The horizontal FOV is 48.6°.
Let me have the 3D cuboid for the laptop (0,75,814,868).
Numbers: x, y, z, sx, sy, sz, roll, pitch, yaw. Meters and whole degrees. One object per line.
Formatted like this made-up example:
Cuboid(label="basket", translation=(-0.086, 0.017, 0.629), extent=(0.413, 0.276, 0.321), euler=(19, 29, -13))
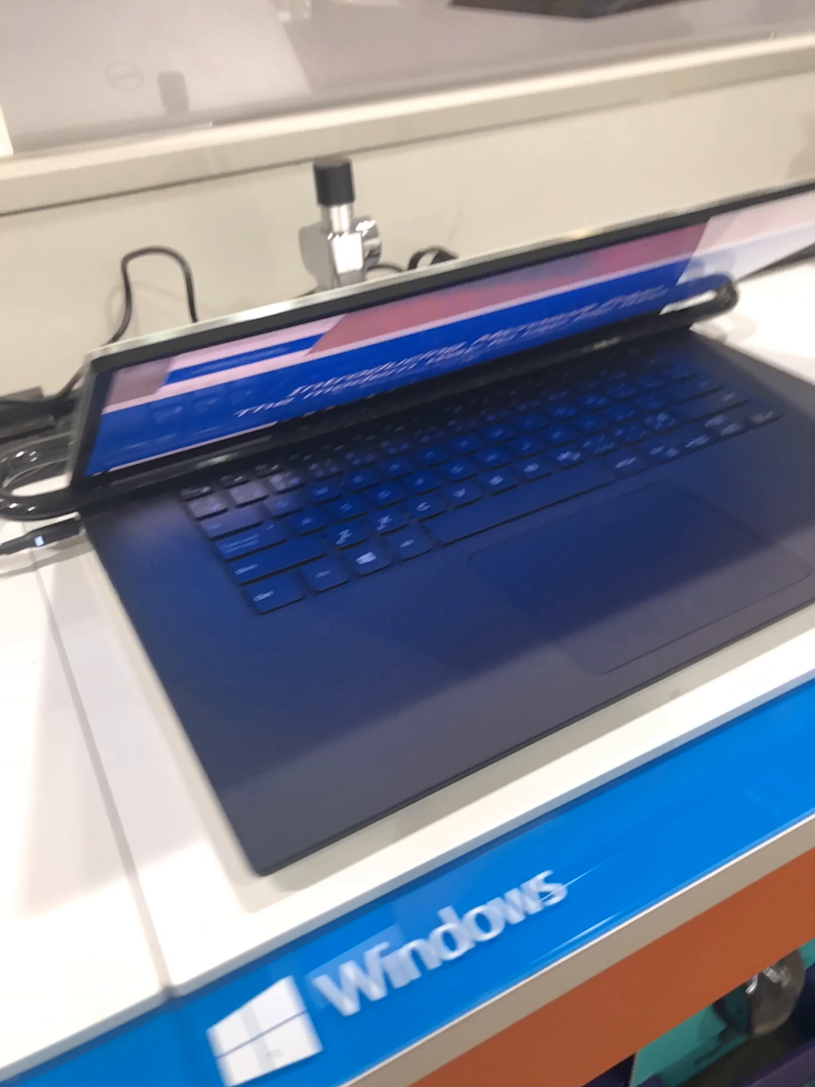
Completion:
Cuboid(label="laptop", translation=(0.053, -0.076, 0.354), extent=(0.345, 0.133, 0.217), euler=(-21, 39, -23))
